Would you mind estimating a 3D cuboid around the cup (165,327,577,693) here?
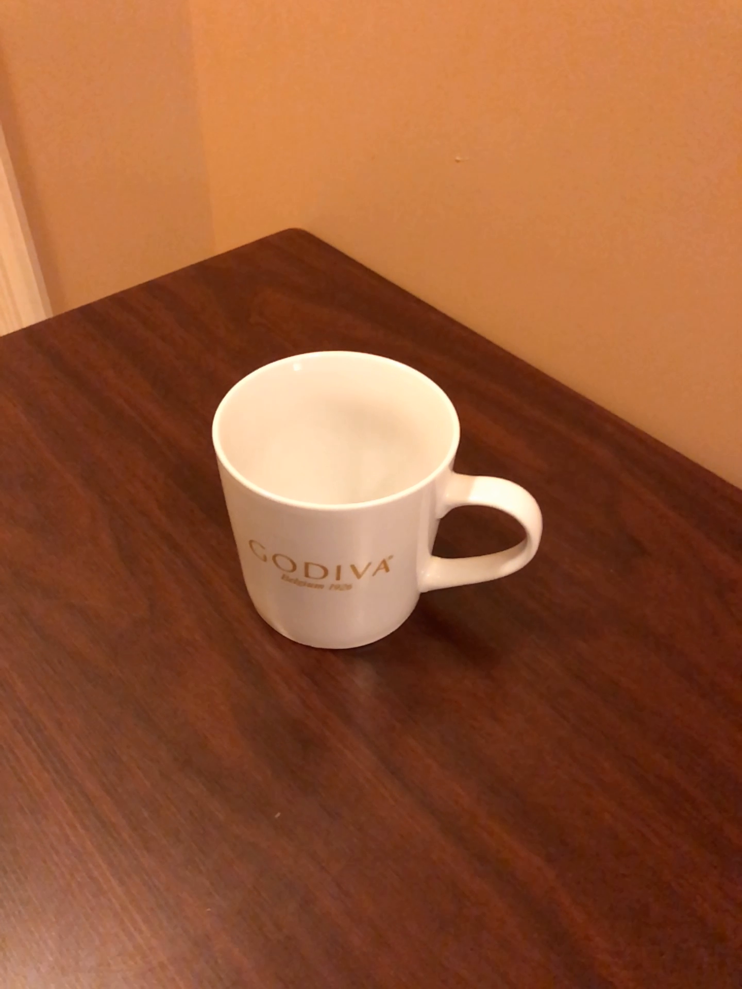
[{"bbox_3d":[0.004,0.005,0.371,0.150,0.100,0.111,7,44,4],"label":"cup"}]
